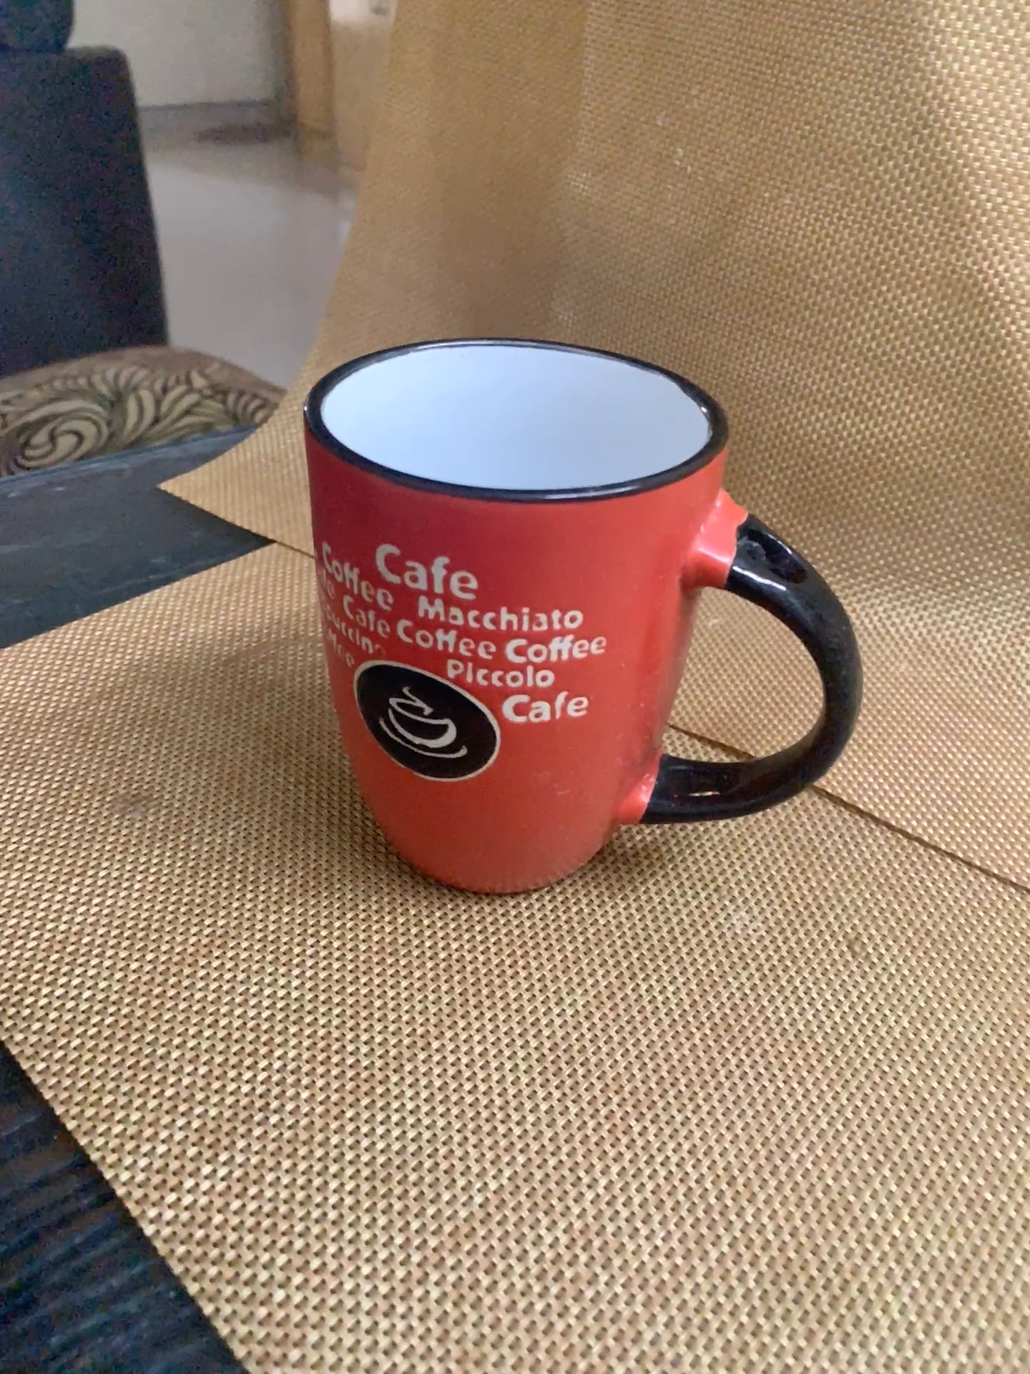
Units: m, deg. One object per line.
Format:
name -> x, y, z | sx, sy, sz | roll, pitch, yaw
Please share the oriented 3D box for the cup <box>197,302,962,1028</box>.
cup -> 0.016, -0.011, 0.227 | 0.120, 0.099, 0.091 | 12, 36, 12
